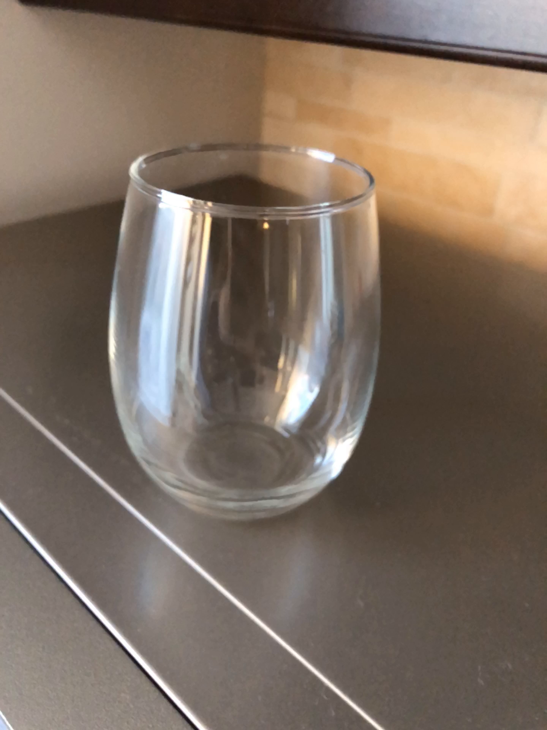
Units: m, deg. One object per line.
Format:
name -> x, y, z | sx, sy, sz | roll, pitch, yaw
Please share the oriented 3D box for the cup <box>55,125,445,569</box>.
cup -> -0.006, -0.013, 0.208 | 0.078, 0.104, 0.083 | 2, 31, -1
